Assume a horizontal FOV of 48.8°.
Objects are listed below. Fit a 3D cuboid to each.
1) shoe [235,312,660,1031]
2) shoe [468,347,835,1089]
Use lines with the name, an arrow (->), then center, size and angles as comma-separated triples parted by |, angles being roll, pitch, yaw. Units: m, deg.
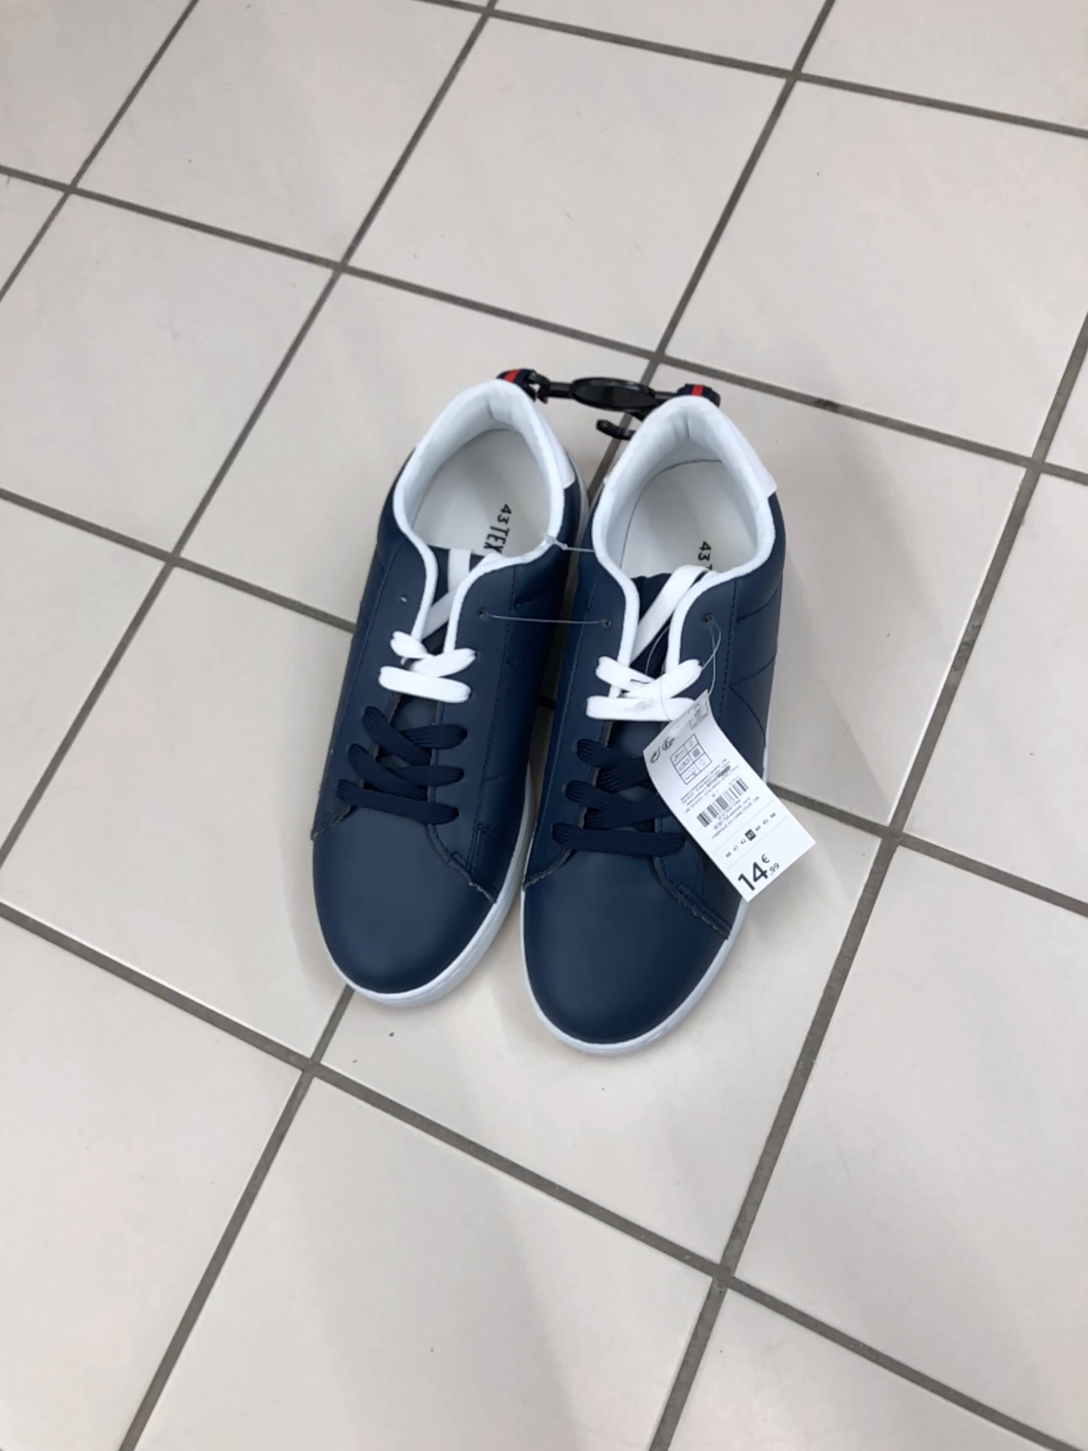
shoe -> -0.029, -0.026, 0.530 | 0.100, 0.100, 0.291 | 9, 72, 13
shoe -> 0.055, -0.006, 0.511 | 0.100, 0.100, 0.291 | 7, 72, 13
